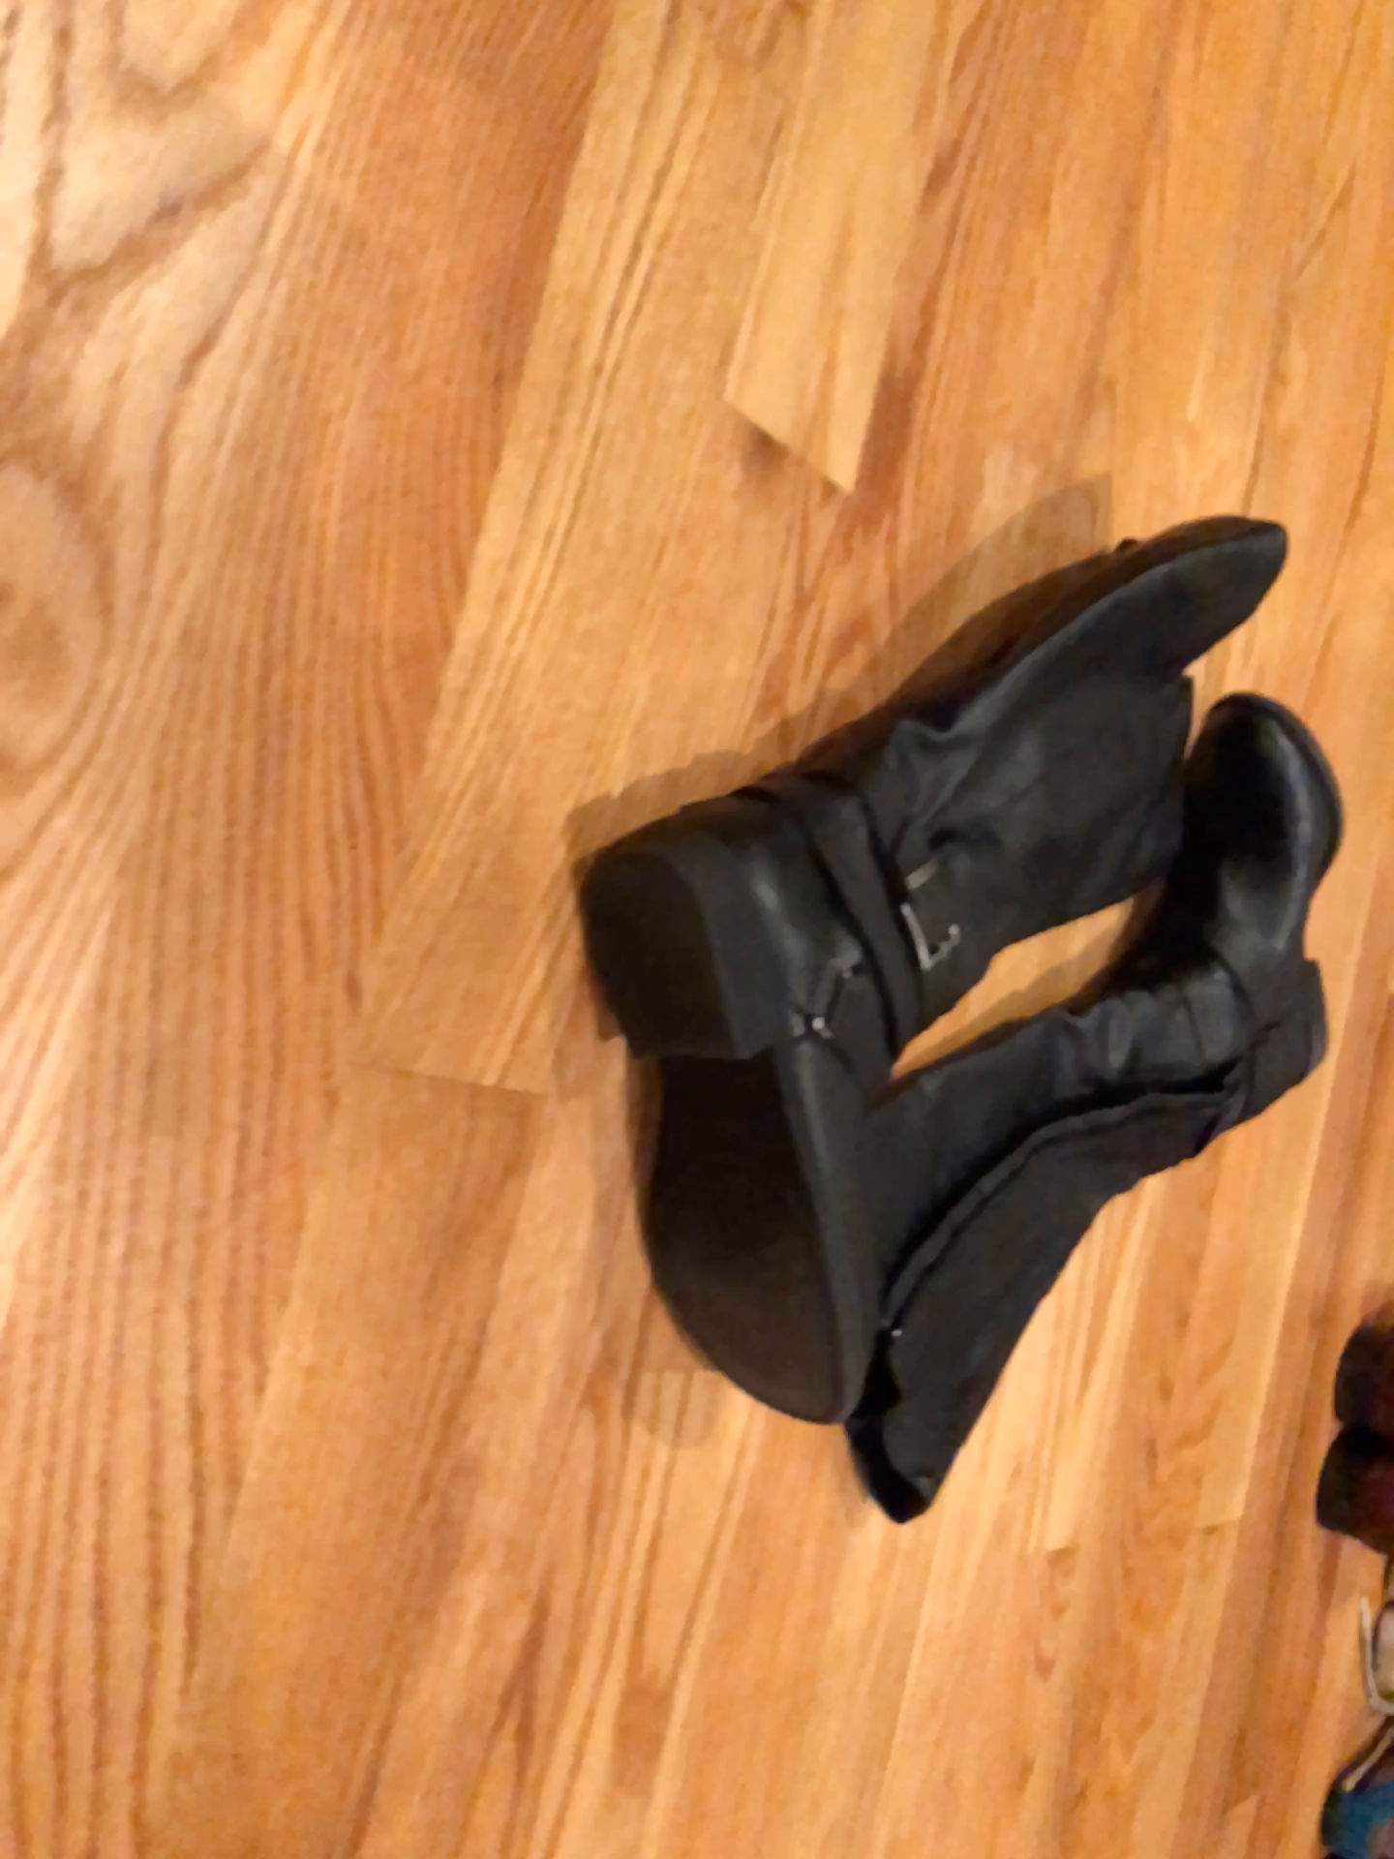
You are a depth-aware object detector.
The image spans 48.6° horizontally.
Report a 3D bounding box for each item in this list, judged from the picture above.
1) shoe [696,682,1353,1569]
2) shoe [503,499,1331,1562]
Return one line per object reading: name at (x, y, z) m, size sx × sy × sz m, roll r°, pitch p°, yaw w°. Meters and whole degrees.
shoe at (0.180, 0.054, 0.710) m, size 0.395 × 0.094 × 0.250 m, roll -27°, pitch 117°, yaw -43°
shoe at (0.132, 0.004, 0.646) m, size 0.405 × 0.104 × 0.290 m, roll -28°, pitch 117°, yaw -41°
